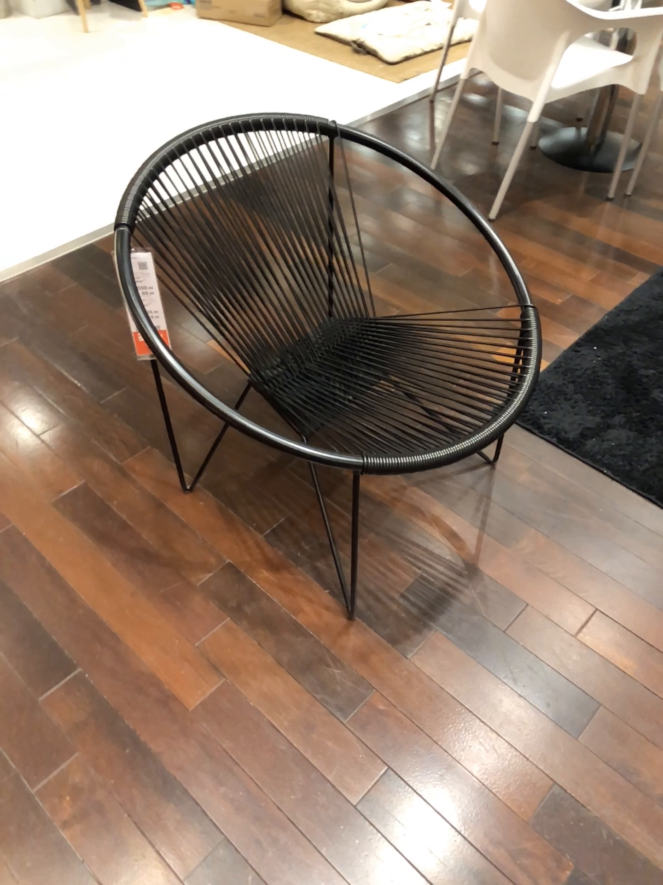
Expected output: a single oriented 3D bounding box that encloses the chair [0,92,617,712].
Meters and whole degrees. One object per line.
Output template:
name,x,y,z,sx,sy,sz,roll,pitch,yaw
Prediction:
chair,-0.039,-0.137,1.366,0.732,0.675,0.704,28,50,27
